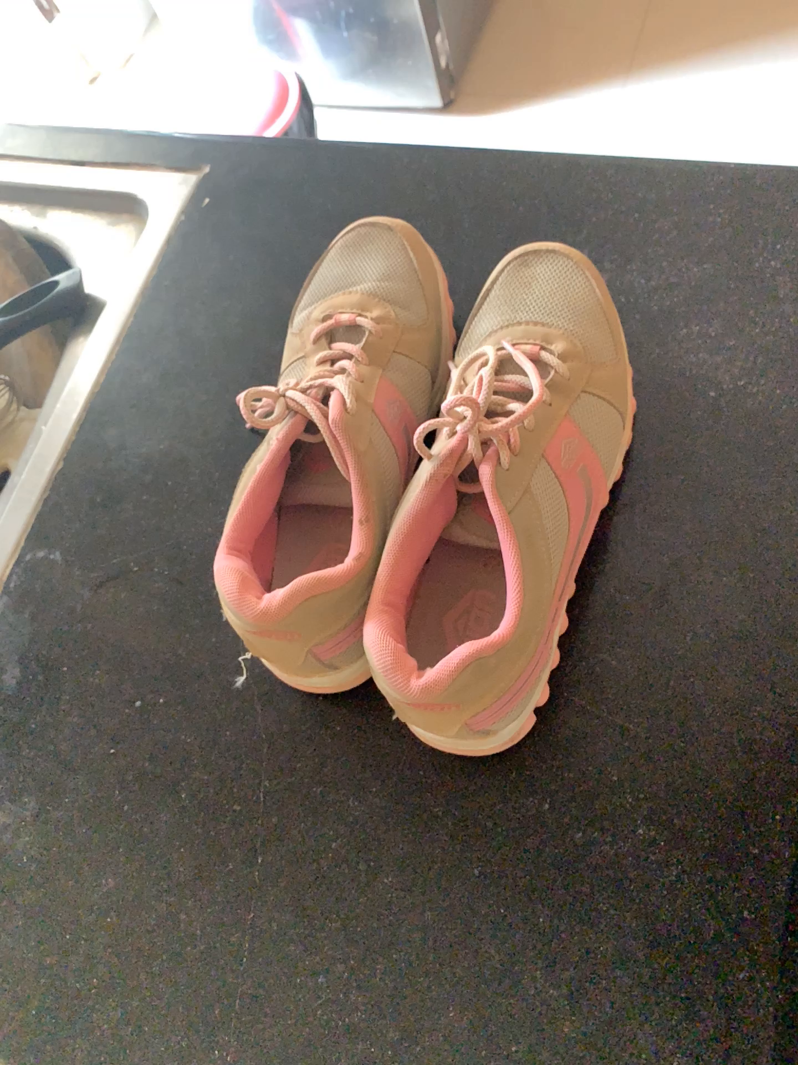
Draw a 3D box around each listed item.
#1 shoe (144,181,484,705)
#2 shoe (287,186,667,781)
[{"bbox_3d":[-0.028,-0.045,0.409,0.090,0.100,0.231,5,69,18],"label":"shoe"},{"bbox_3d":[0.049,-0.026,0.377,0.100,0.100,0.241,10,71,19],"label":"shoe"}]
